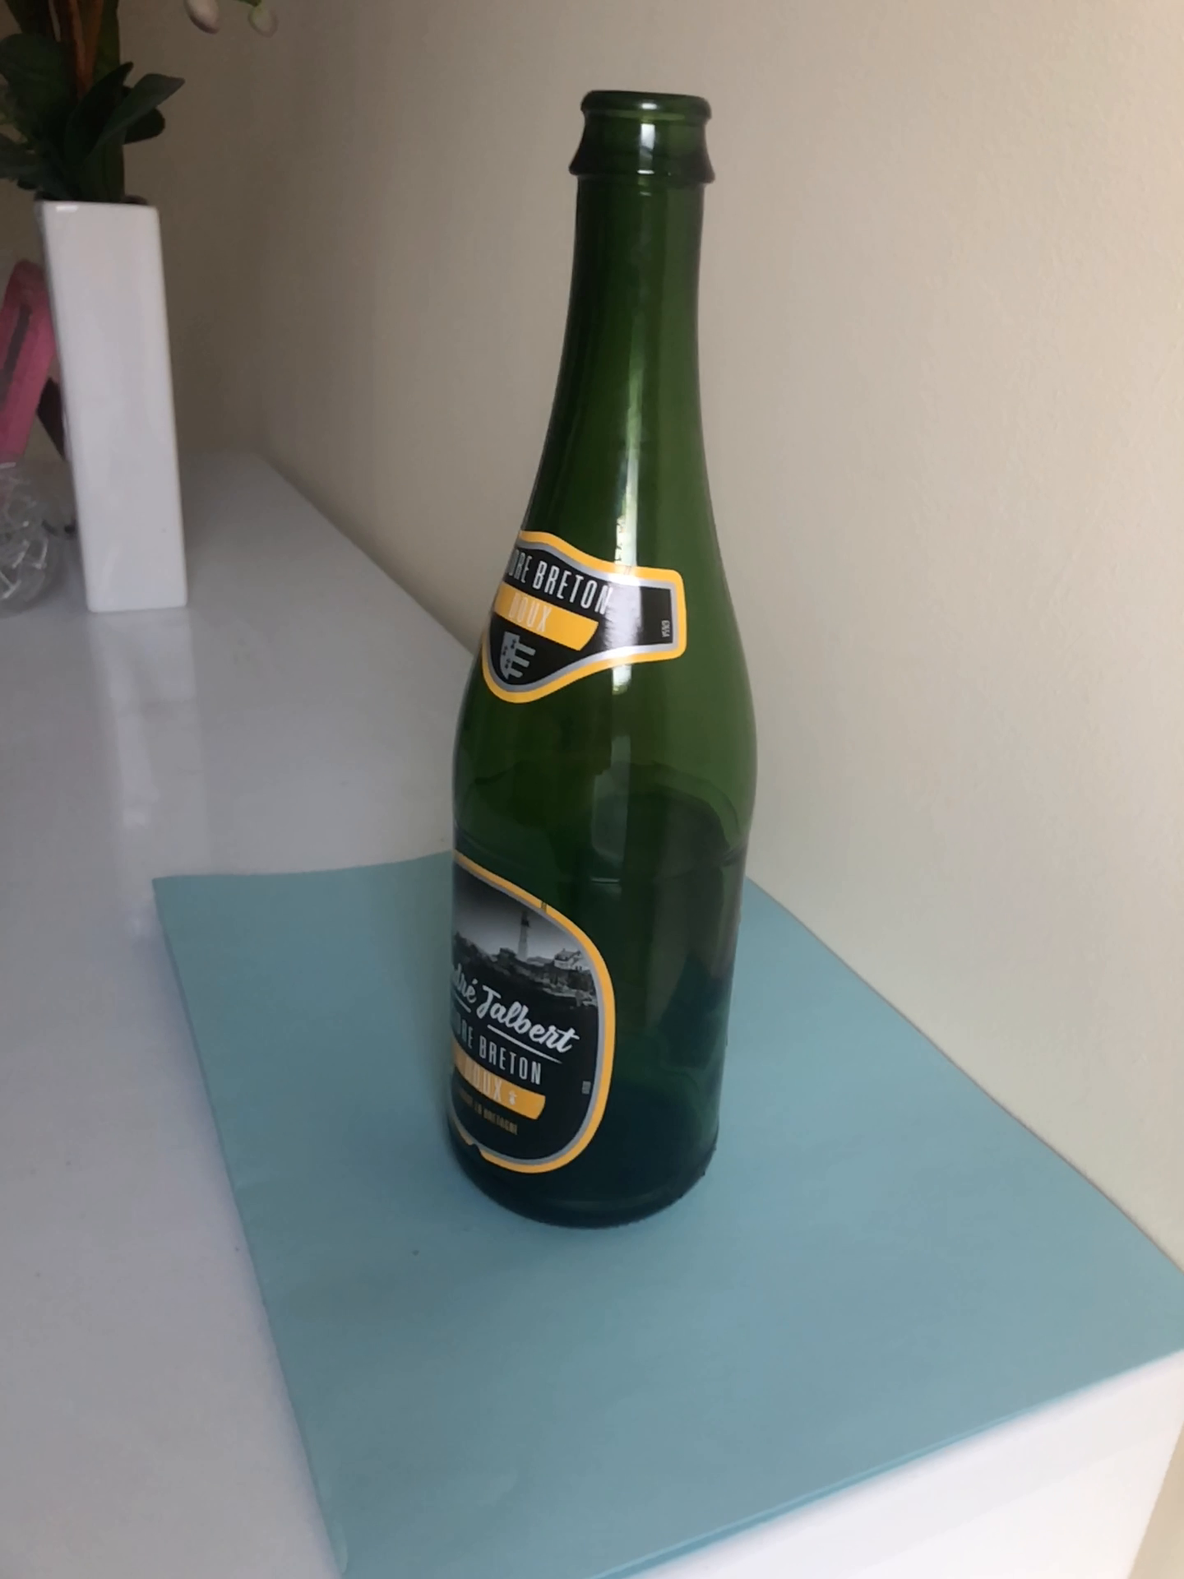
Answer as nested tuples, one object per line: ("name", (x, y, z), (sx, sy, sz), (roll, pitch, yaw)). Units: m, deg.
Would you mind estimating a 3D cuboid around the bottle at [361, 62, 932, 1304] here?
("bottle", (0.003, -0.021, 0.331), (0.080, 0.278, 0.090), (-17, 31, -37))
